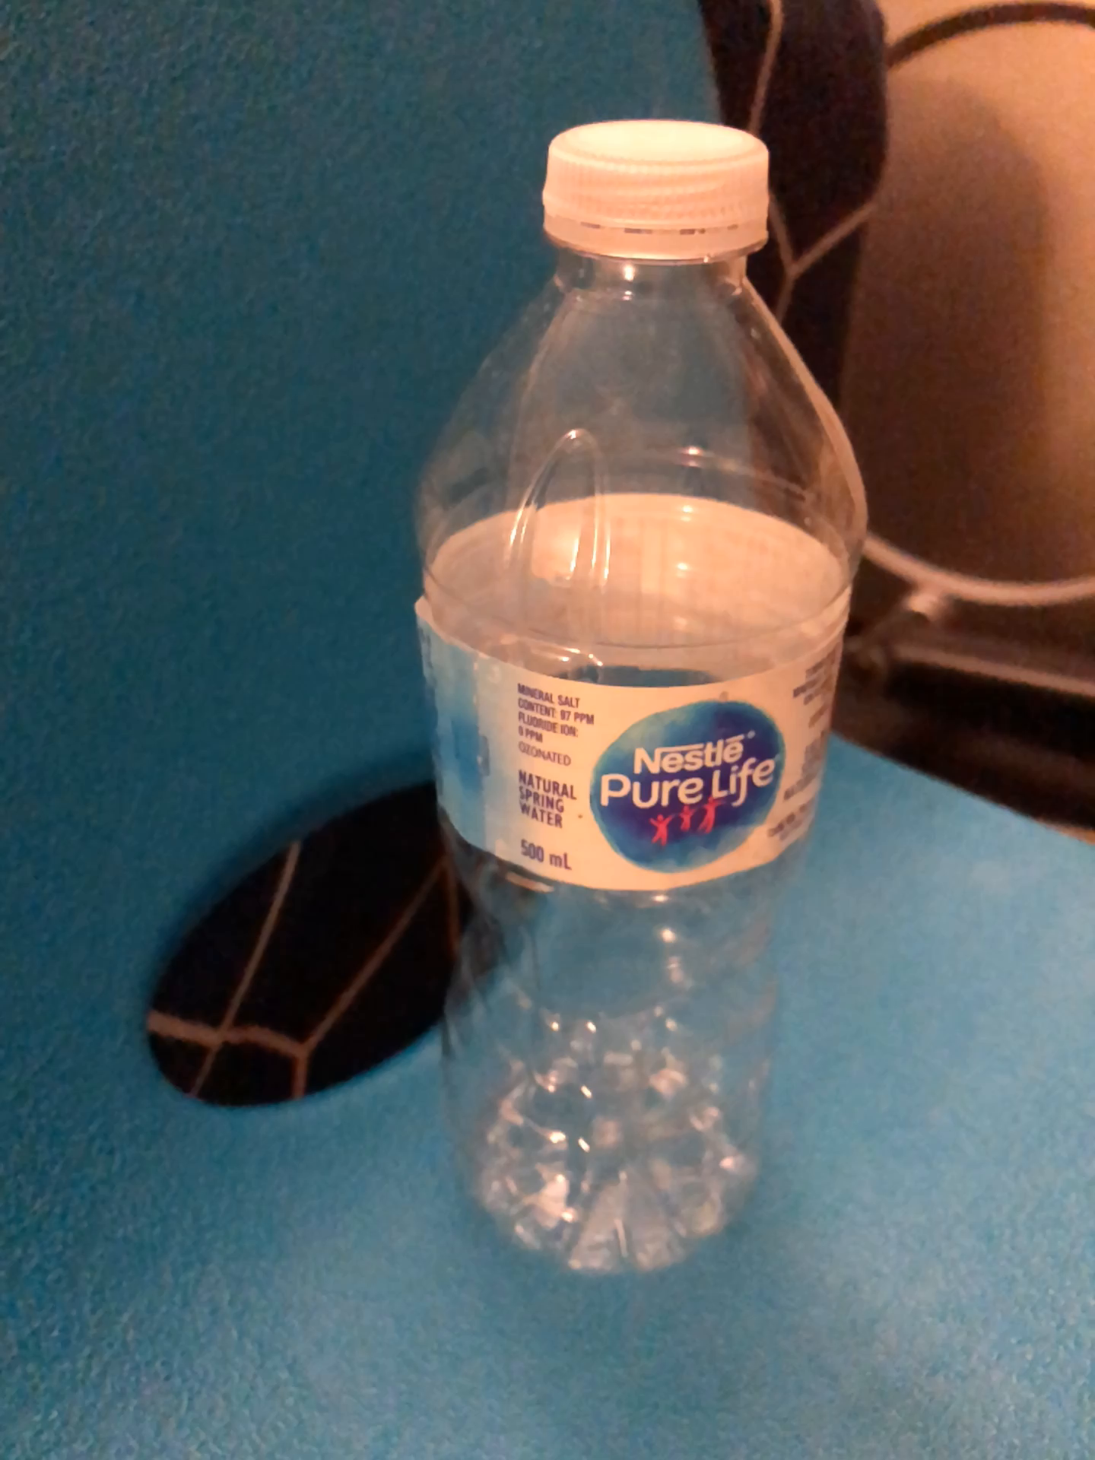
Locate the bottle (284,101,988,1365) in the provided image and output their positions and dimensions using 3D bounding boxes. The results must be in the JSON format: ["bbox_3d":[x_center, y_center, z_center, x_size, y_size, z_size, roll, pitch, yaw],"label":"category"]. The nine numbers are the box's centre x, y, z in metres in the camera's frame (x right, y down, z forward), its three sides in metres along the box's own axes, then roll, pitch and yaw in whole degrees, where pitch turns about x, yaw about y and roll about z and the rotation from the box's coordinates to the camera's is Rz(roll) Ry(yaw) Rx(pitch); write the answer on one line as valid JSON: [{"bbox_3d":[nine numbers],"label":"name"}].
[{"bbox_3d":[0.009,0.006,0.203,0.070,0.189,0.070,-2,30,1],"label":"bottle"}]
